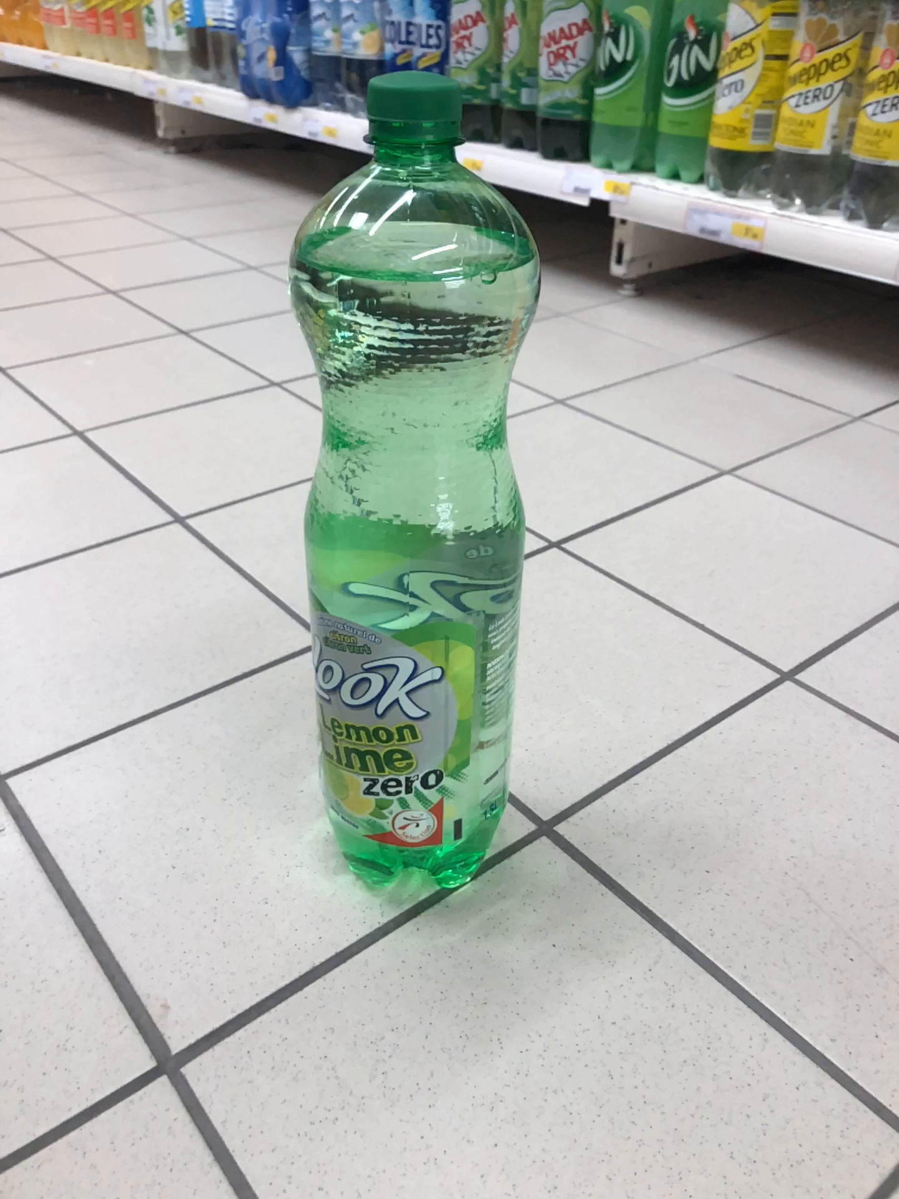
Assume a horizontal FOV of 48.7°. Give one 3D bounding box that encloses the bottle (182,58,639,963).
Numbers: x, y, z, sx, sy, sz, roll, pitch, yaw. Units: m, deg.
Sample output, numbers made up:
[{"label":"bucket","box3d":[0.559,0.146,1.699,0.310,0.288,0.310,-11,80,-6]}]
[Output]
[{"label":"bottle","box3d":[-0.011,-0.023,0.383,0.100,0.318,0.101,1,31,-1]}]
